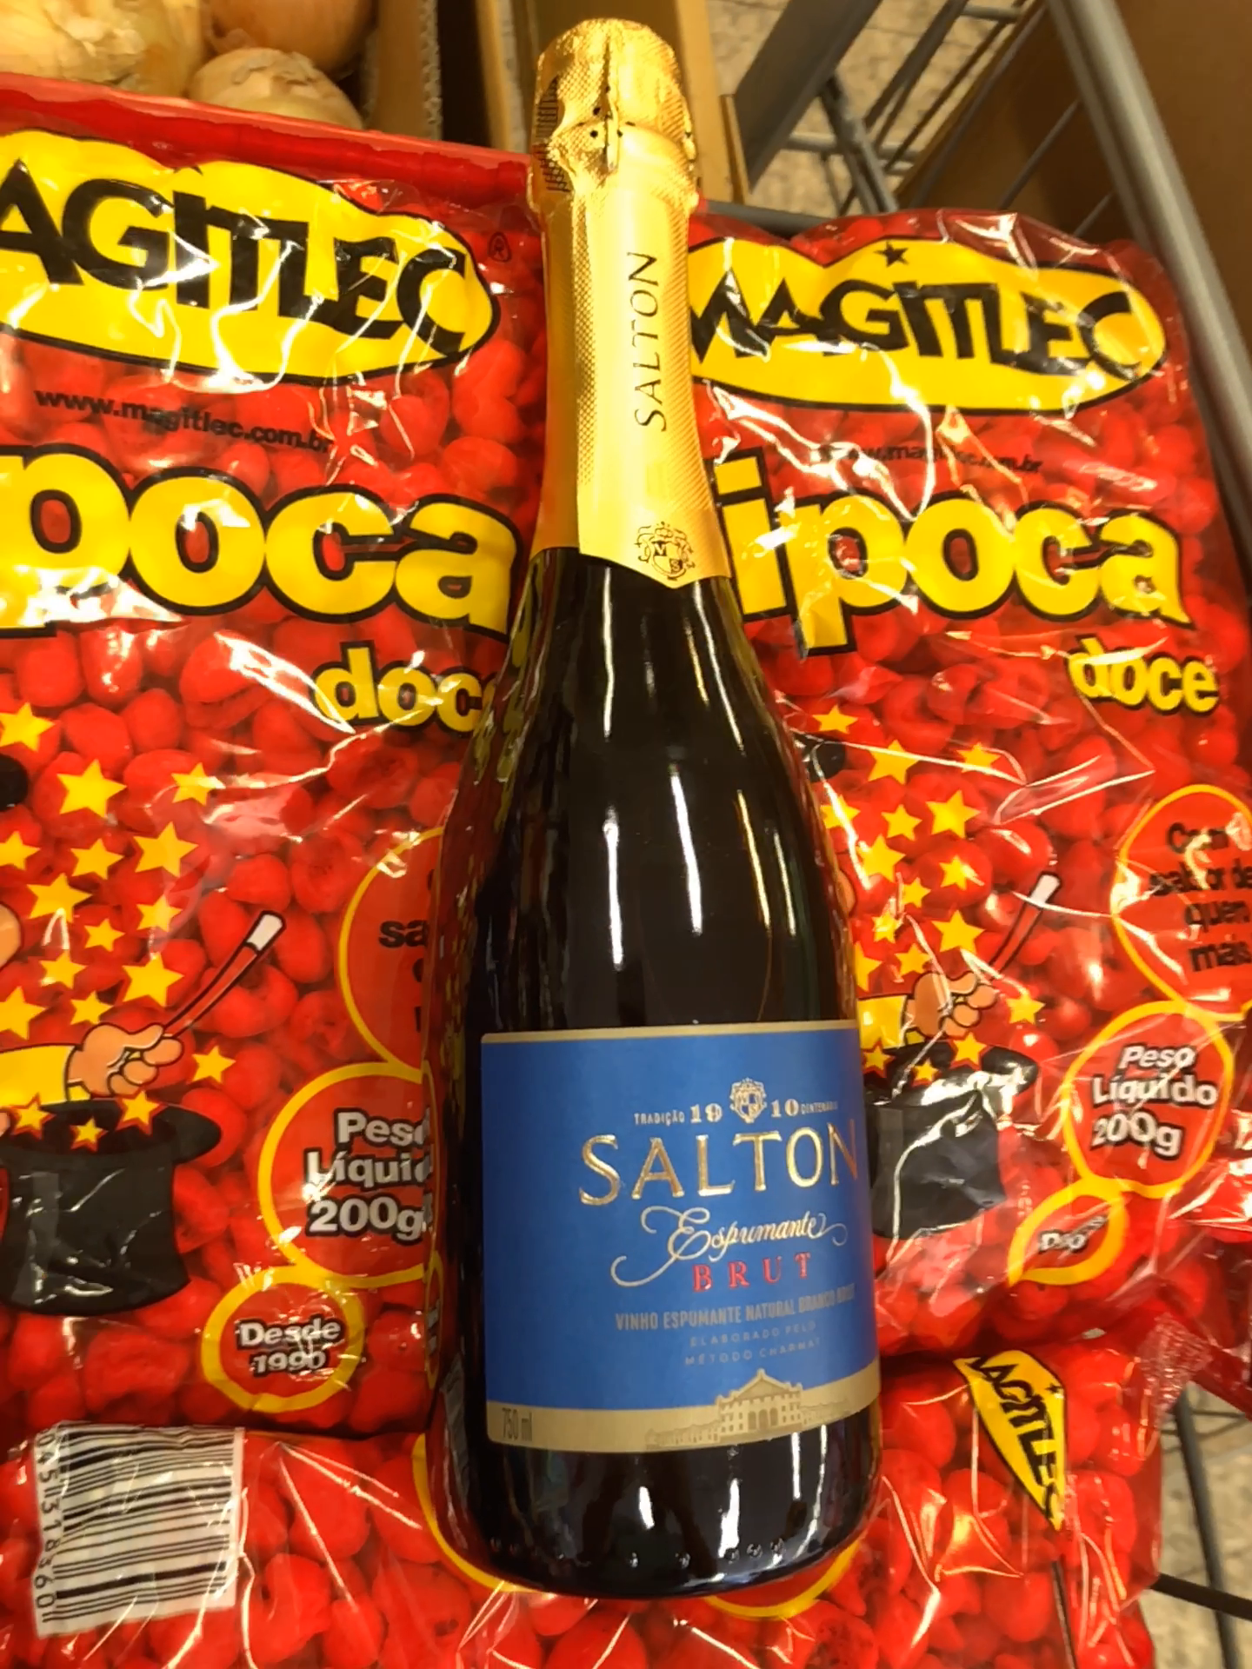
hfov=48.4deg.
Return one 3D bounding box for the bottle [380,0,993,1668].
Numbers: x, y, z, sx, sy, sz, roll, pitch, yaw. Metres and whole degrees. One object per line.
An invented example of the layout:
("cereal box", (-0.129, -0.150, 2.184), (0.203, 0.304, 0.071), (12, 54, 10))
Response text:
("bottle", (0.005, -0.023, 0.273), (0.090, 0.080, 0.310), (1, 85, -22))
